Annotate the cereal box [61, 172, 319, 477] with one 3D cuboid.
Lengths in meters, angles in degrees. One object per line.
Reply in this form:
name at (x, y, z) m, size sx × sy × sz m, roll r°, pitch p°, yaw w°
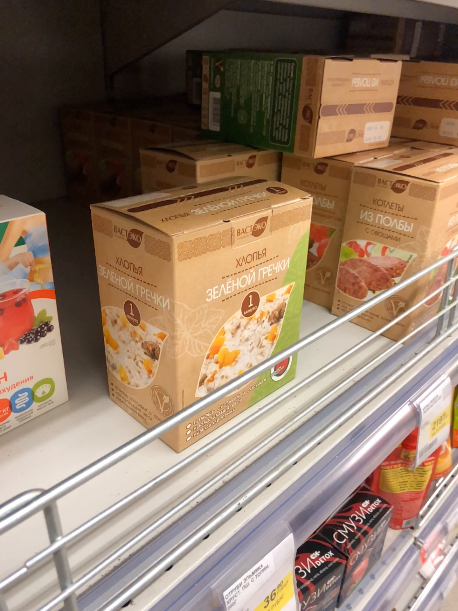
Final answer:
cereal box at (-0.023, 0.002, 0.343) m, size 0.090 × 0.149 × 0.130 m, roll 25°, pitch 34°, yaw 38°
